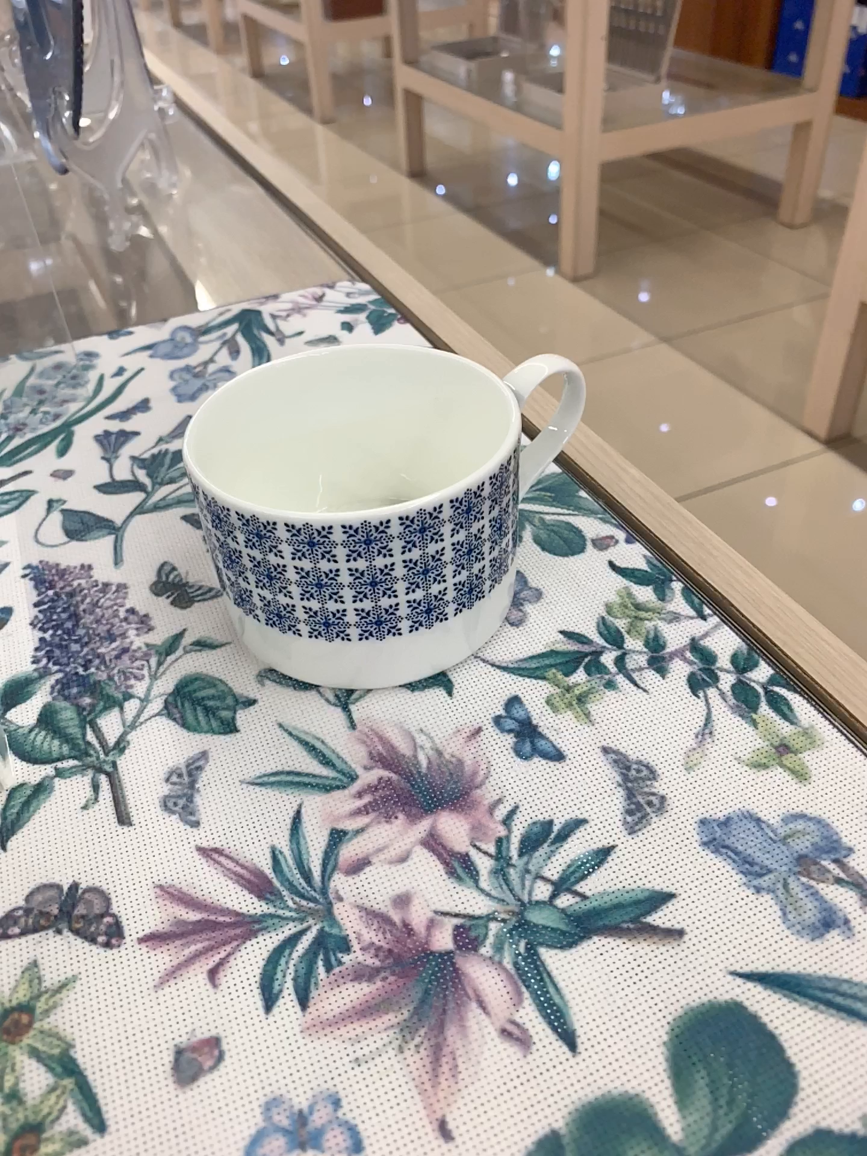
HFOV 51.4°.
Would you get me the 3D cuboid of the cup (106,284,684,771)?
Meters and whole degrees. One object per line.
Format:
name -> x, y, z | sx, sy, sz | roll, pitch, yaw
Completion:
cup -> -0.009, -0.024, 0.252 | 0.120, 0.060, 0.090 | -28, 46, -27
